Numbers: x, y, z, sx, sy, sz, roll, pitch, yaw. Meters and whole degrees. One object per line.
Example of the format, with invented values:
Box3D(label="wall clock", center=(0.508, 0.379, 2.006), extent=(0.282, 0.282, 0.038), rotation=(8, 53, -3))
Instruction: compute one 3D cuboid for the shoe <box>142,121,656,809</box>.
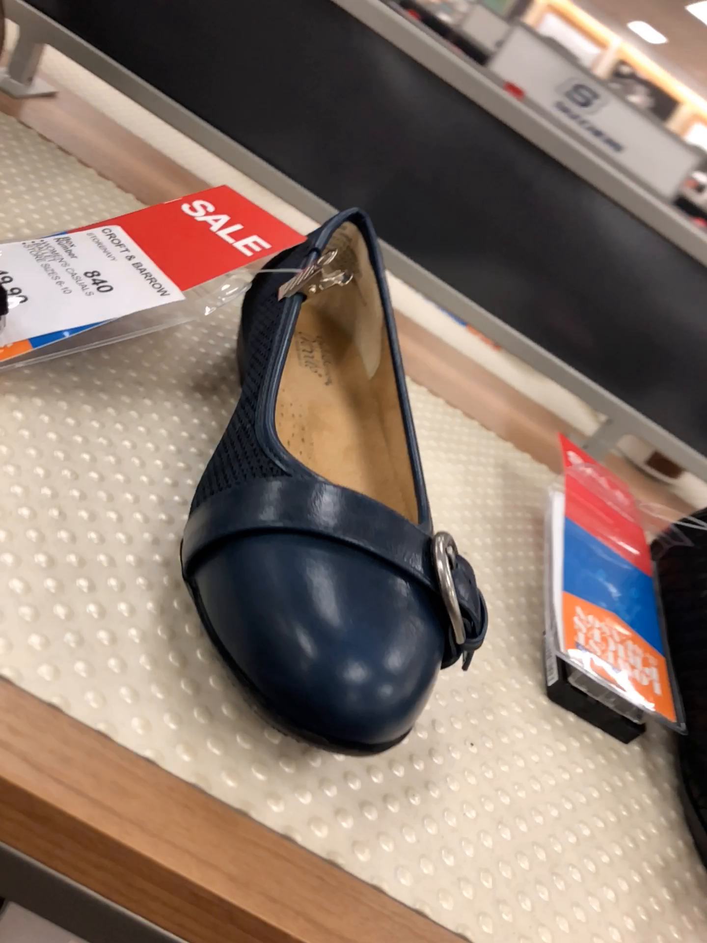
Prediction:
Box3D(label="shoe", center=(-0.007, -0.036, 0.291), extent=(0.088, 0.081, 0.279), rotation=(23, 30, -23))
